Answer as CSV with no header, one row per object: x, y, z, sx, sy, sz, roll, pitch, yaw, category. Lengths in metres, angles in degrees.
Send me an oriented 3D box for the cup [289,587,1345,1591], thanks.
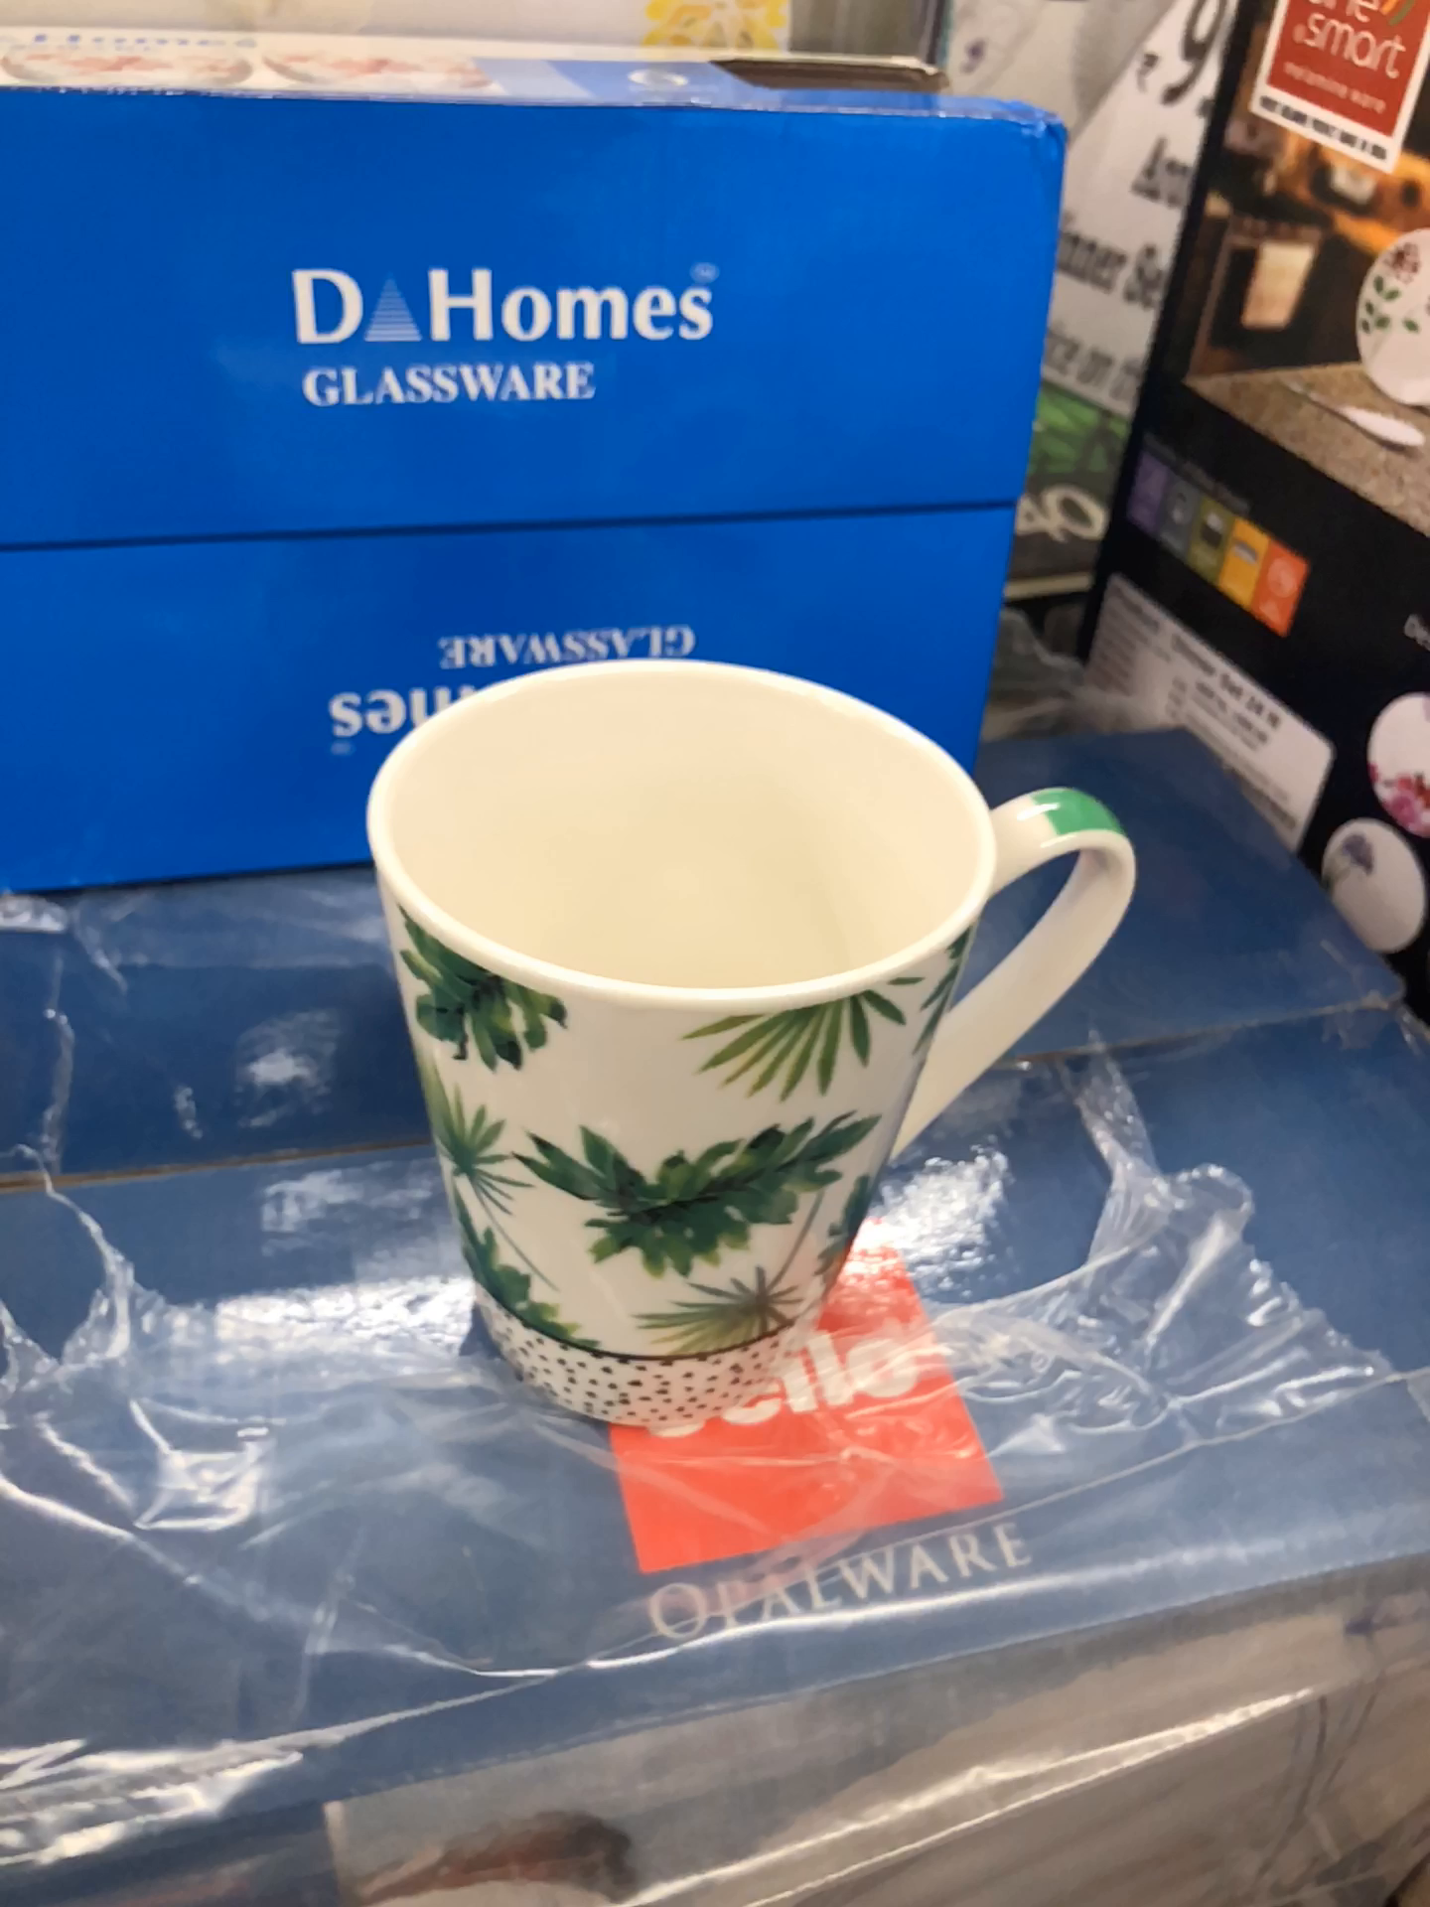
0.009,0.016,0.250,0.120,0.099,0.080,-15,44,-22,cup
